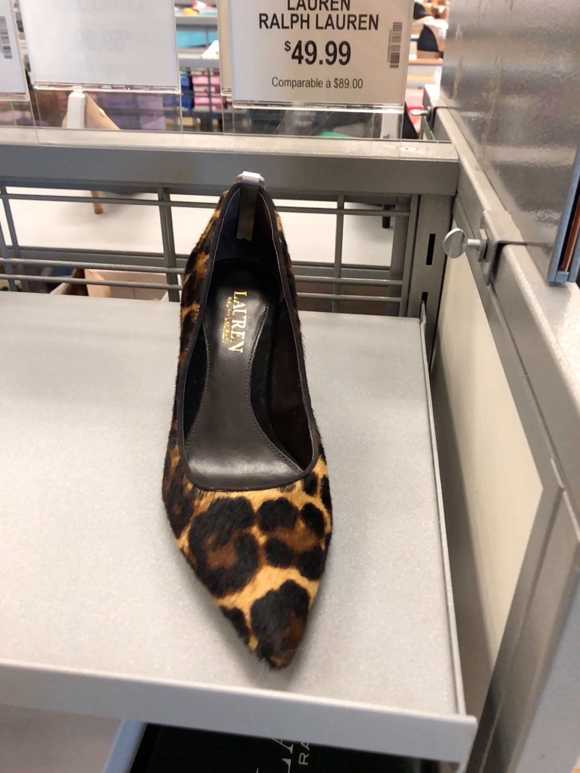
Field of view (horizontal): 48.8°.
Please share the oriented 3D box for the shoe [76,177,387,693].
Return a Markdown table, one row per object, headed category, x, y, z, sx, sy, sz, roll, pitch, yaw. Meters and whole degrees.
| category | x | y | z | sx | sy | sz | roll | pitch | yaw |
| --- | --- | --- | --- | --- | --- | --- | --- | --- | --- |
| shoe | -0.028 | -0.009 | 0.334 | 0.090 | 0.129 | 0.272 | -2 | 32 | -4 |
